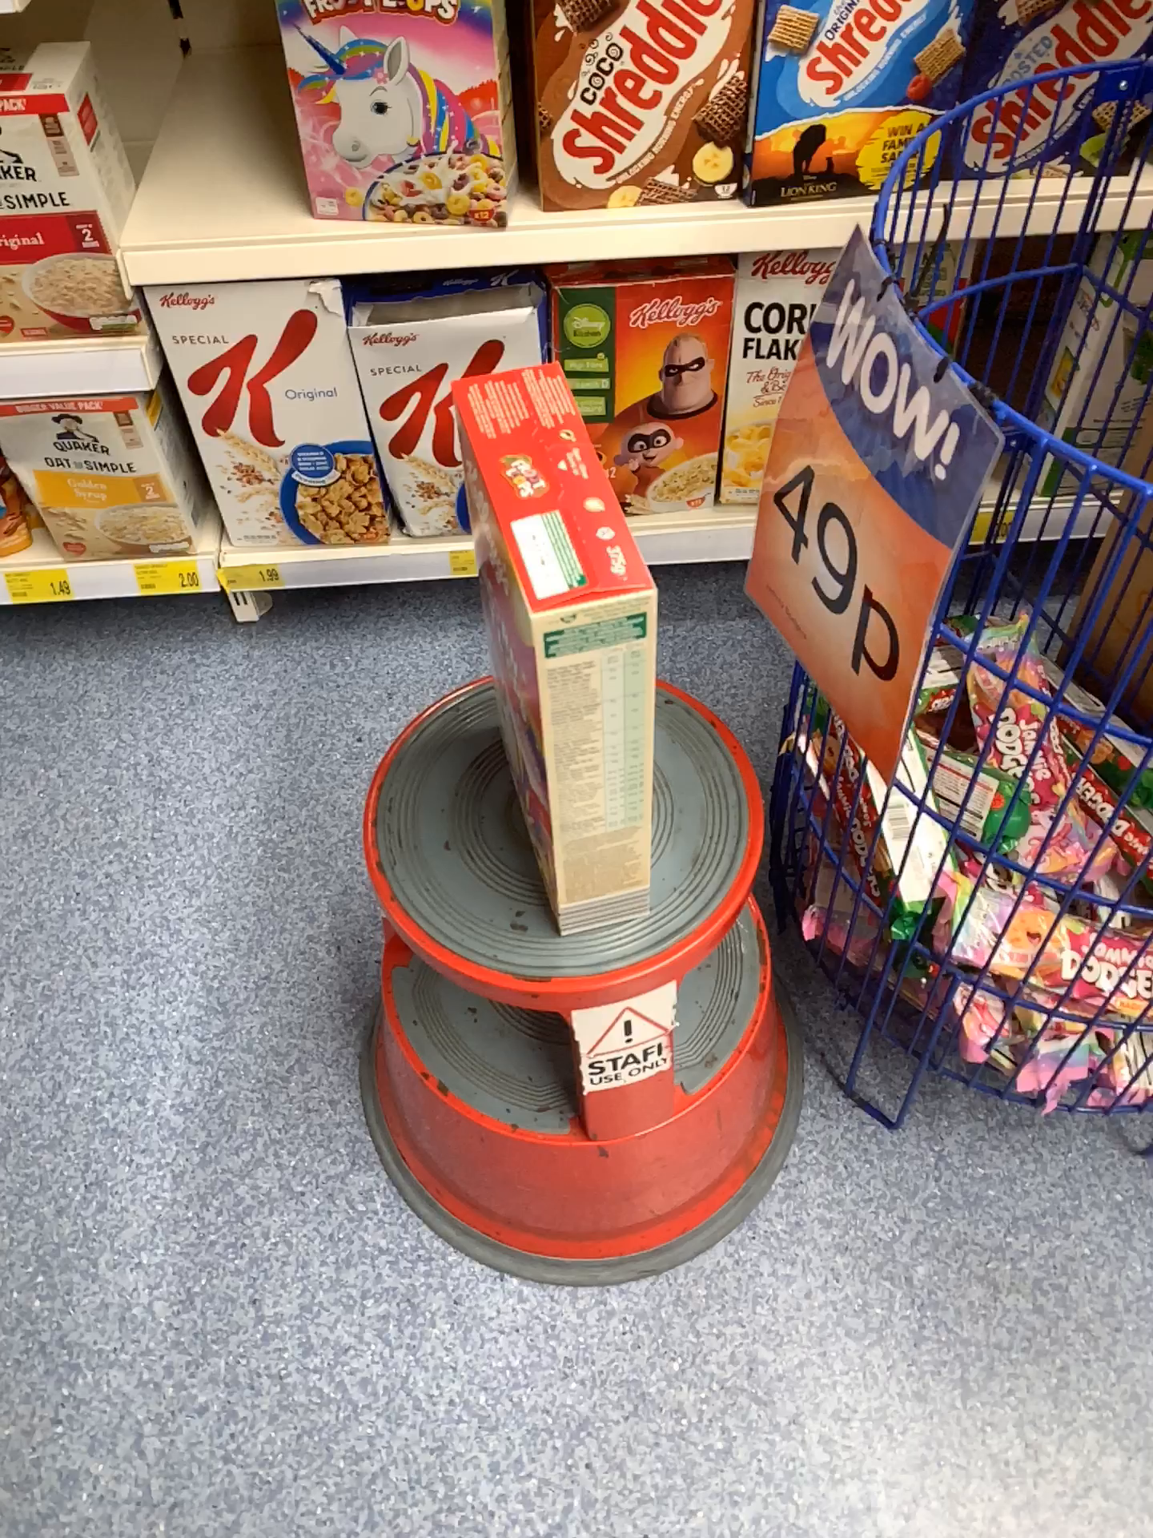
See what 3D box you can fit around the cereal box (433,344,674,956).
[{"bbox_3d":[-0.014,-0.059,0.691,0.070,0.288,0.212,-13,53,-8],"label":"cereal box"}]
